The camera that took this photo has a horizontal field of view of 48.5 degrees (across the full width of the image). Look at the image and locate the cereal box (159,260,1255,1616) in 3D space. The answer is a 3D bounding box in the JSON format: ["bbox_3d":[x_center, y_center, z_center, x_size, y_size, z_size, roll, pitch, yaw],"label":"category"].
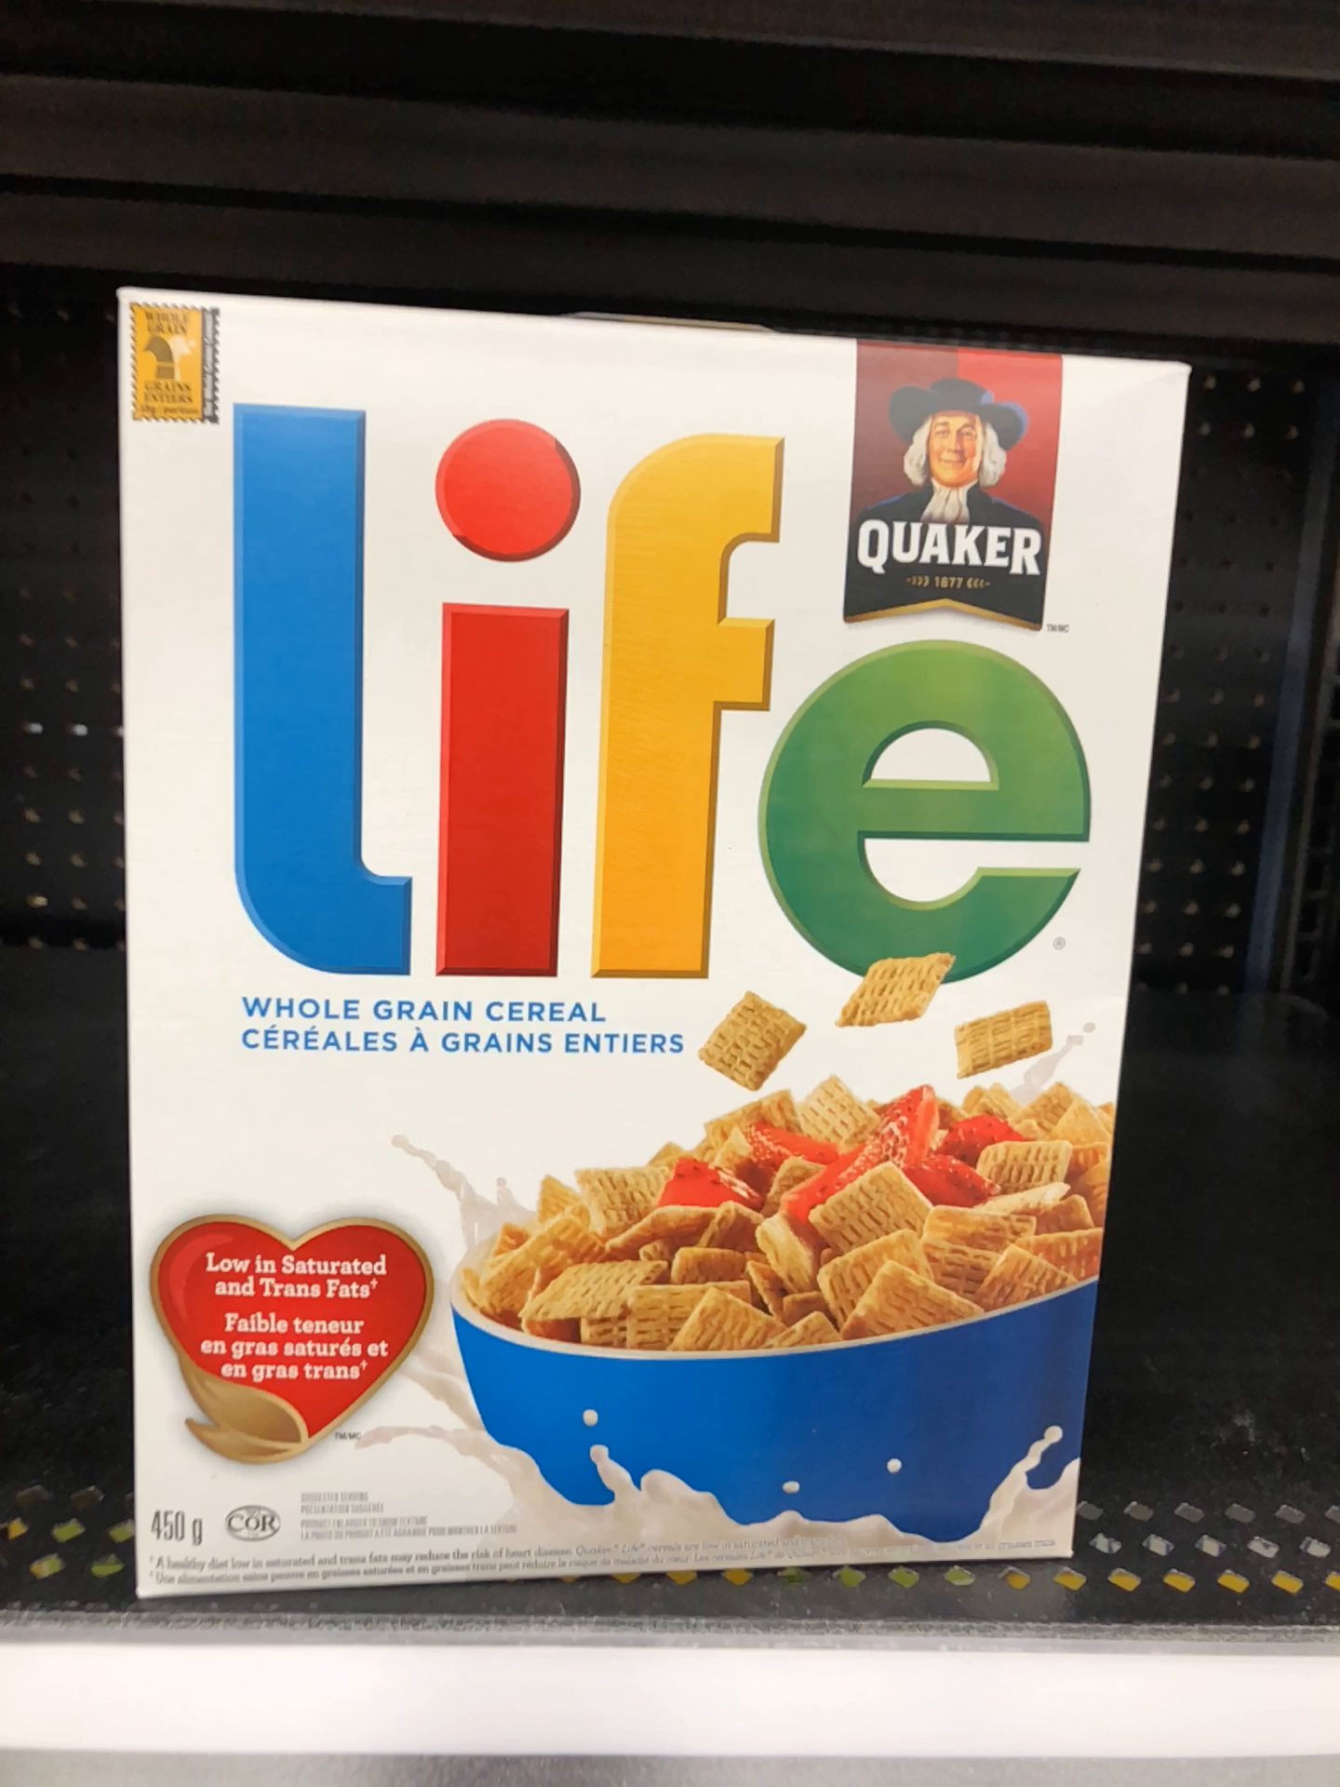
[{"bbox_3d":[0.001,0.015,0.321,0.200,0.259,0.060,1,11,-8],"label":"cereal box"}]
